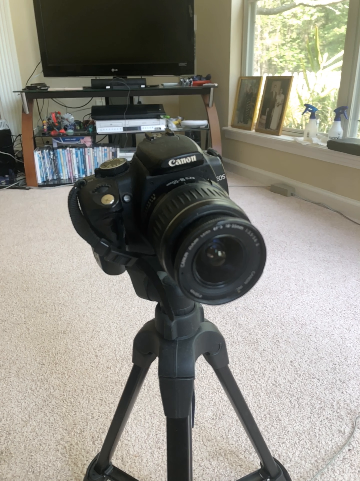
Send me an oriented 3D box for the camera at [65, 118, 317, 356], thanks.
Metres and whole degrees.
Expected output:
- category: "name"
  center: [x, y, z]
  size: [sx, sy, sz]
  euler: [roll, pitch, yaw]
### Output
- category: "camera"
  center: [0.000, -0.018, 0.295]
  size: [0.130, 0.093, 0.143]
  euler: [-16, 32, -15]
